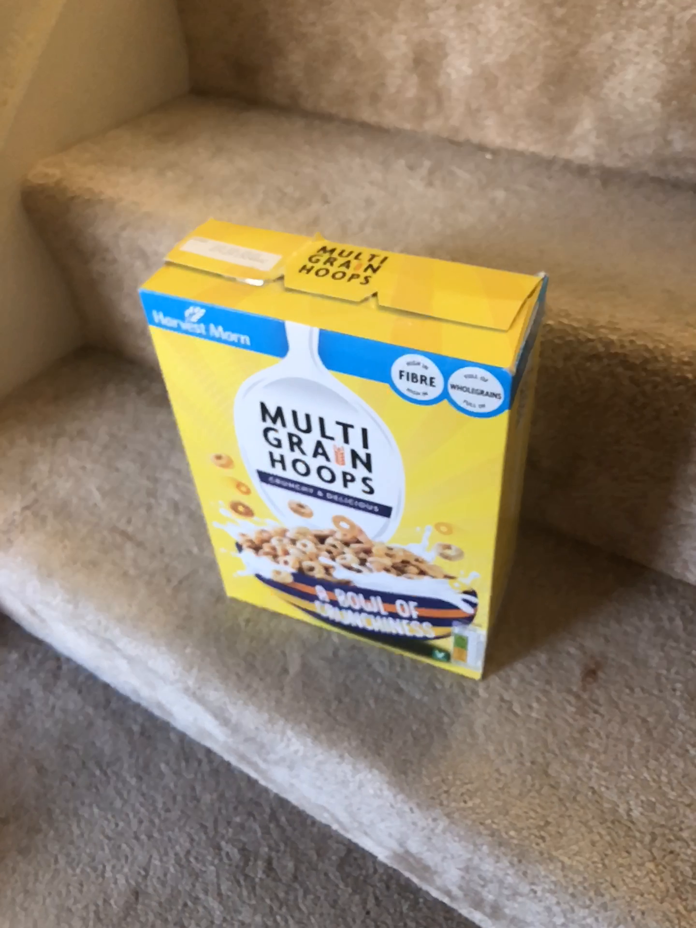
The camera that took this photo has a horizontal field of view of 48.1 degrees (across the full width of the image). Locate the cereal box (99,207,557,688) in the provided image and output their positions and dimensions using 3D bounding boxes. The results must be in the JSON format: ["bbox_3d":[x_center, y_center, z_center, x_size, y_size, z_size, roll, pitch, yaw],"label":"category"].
[{"bbox_3d":[-0.002,-0.001,0.461,0.200,0.248,0.090,15,49,19],"label":"cereal box"}]
